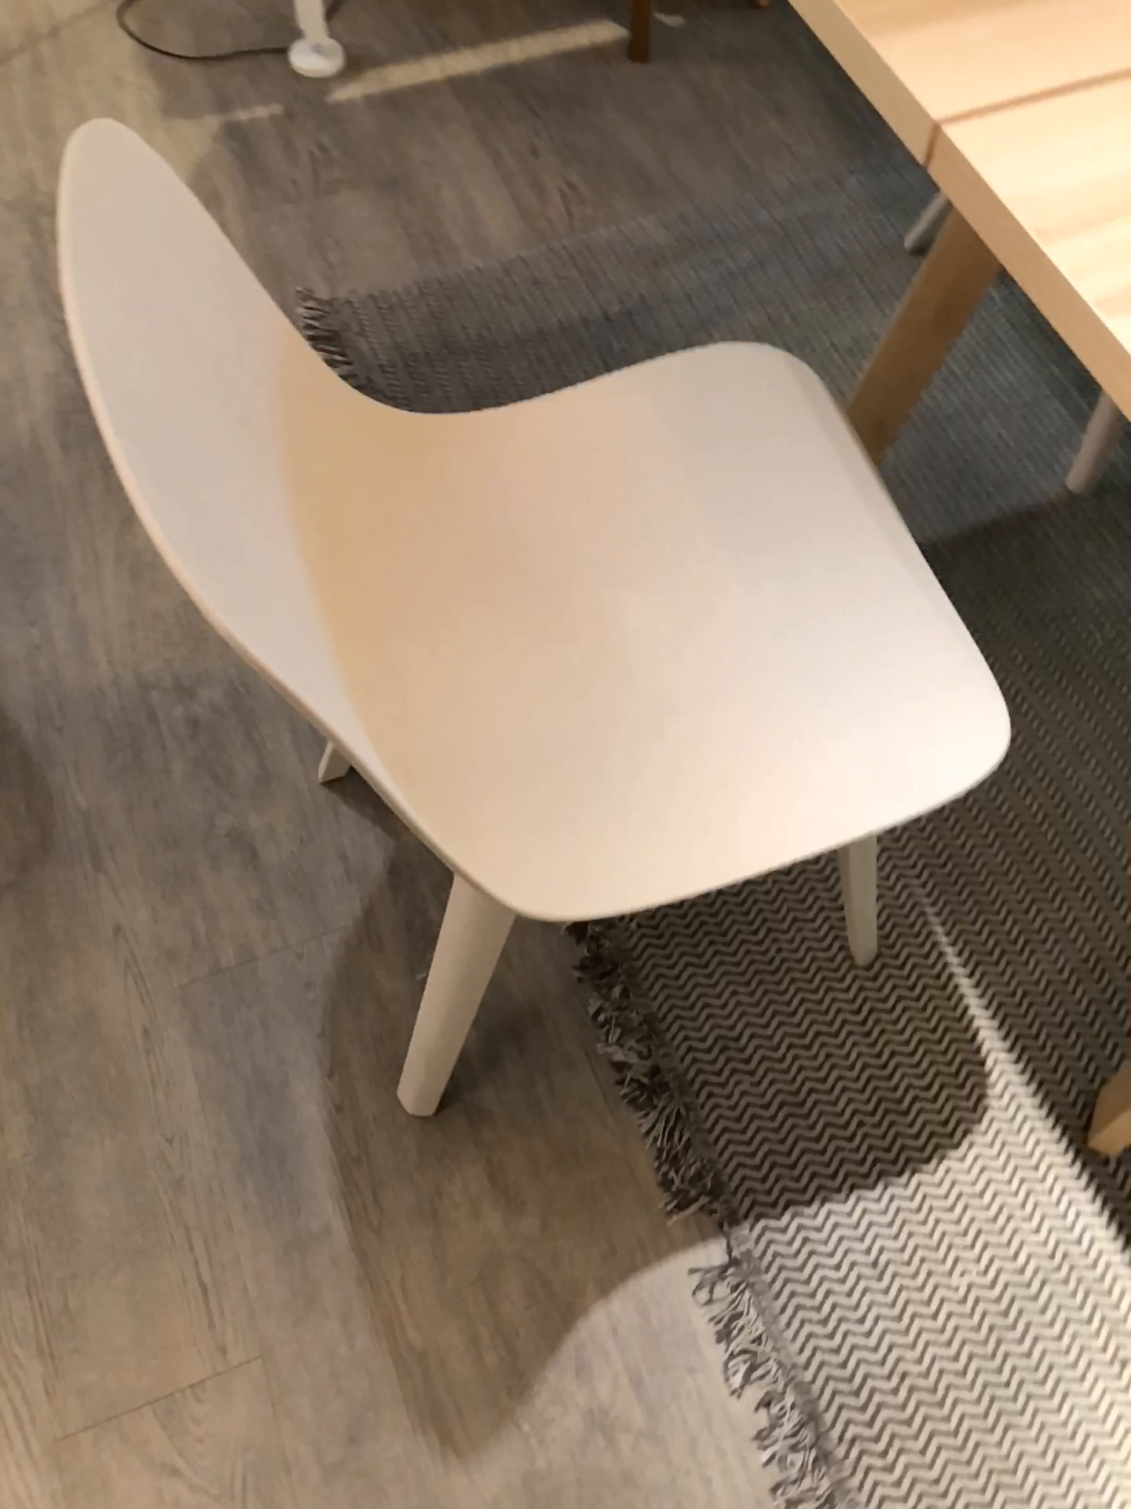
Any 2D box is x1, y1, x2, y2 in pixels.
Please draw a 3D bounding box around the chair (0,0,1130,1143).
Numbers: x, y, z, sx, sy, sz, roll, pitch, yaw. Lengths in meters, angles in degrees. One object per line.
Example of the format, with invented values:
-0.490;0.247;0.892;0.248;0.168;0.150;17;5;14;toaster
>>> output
0.006;-0.103;0.904;0.510;0.767;0.462;-17;63;-10;chair
